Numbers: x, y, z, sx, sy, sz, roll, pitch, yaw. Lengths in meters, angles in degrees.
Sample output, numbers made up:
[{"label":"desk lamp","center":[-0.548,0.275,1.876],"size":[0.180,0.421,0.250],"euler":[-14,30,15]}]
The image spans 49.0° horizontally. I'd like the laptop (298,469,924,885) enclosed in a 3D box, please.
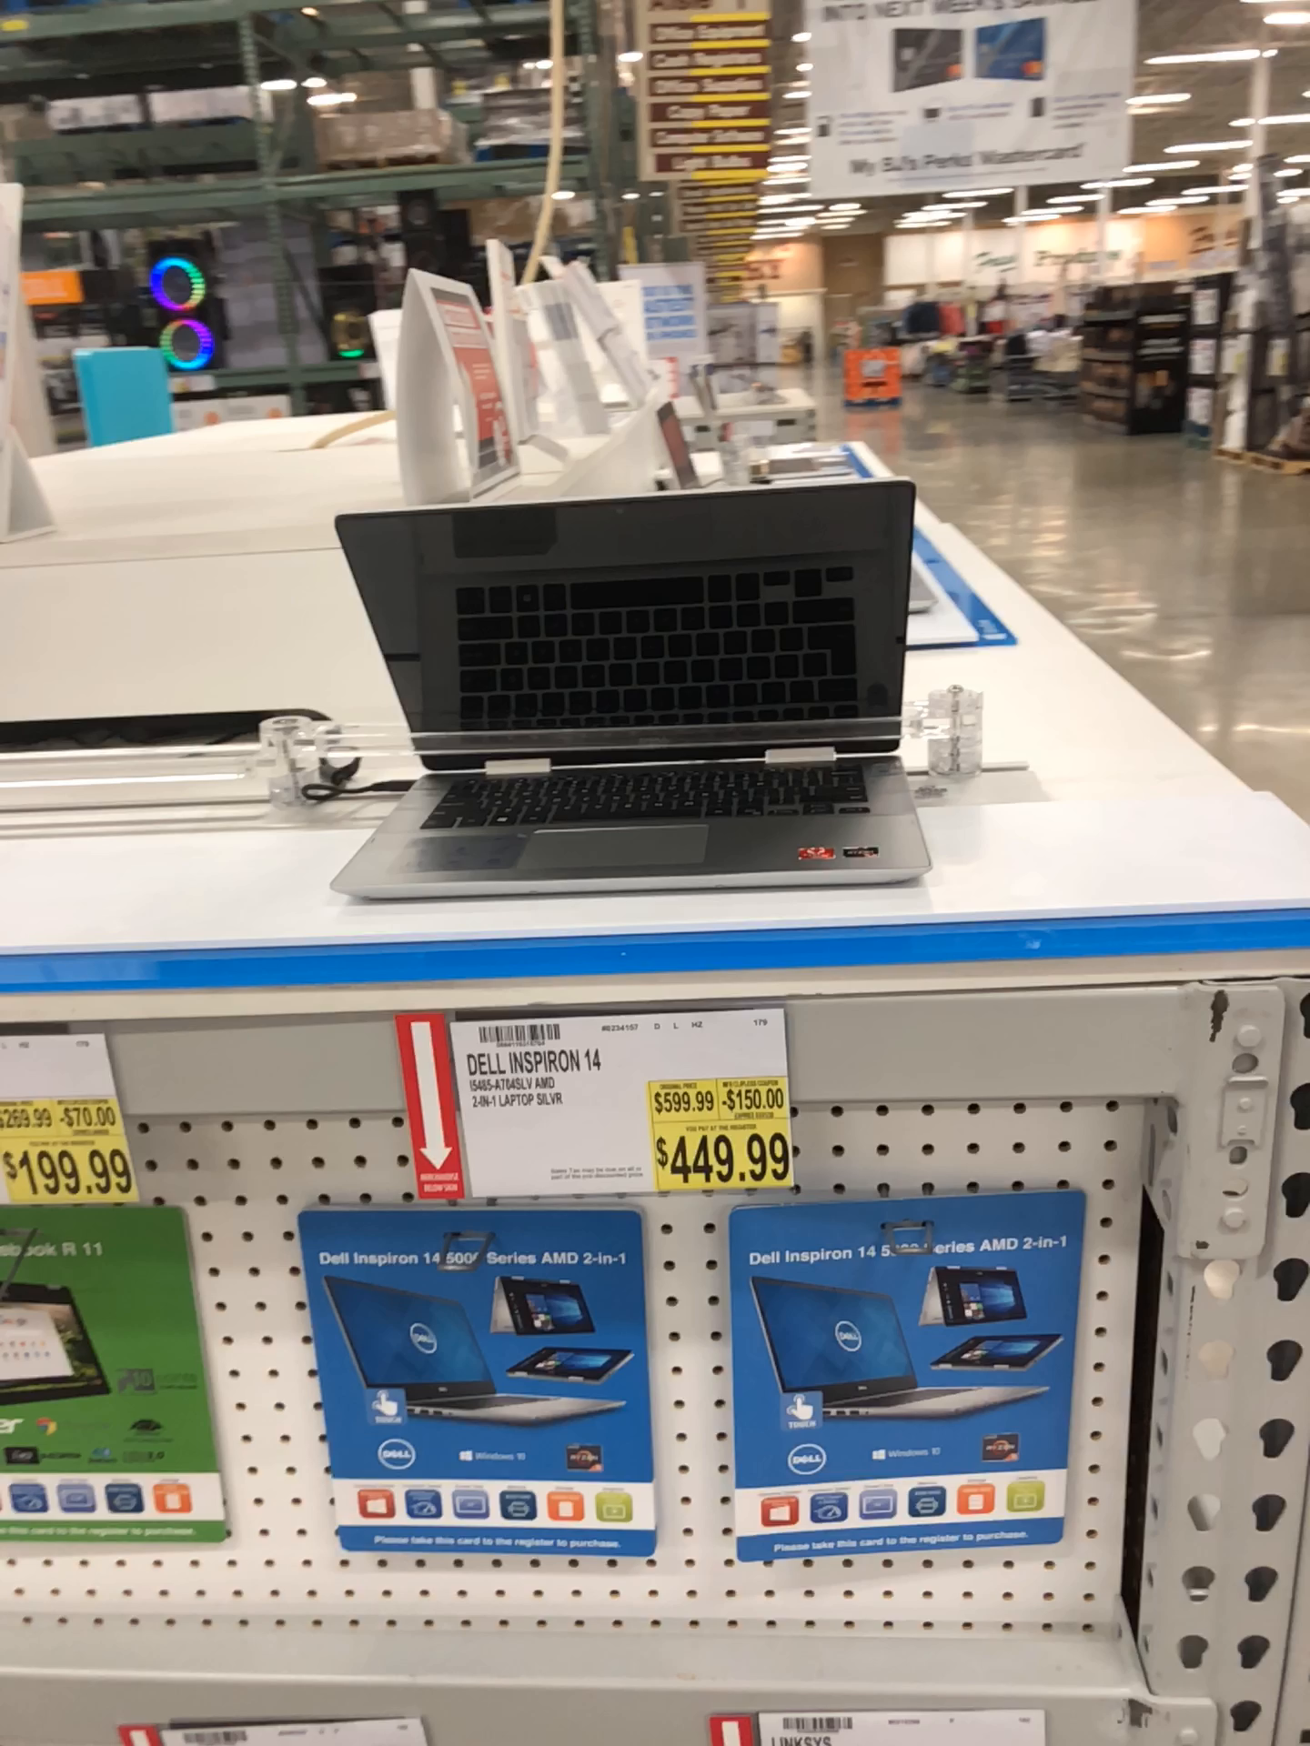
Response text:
[{"label":"laptop","center":[-0.012,-0.120,0.828],"size":[0.307,0.183,0.211],"euler":[-2,19,6]}]
